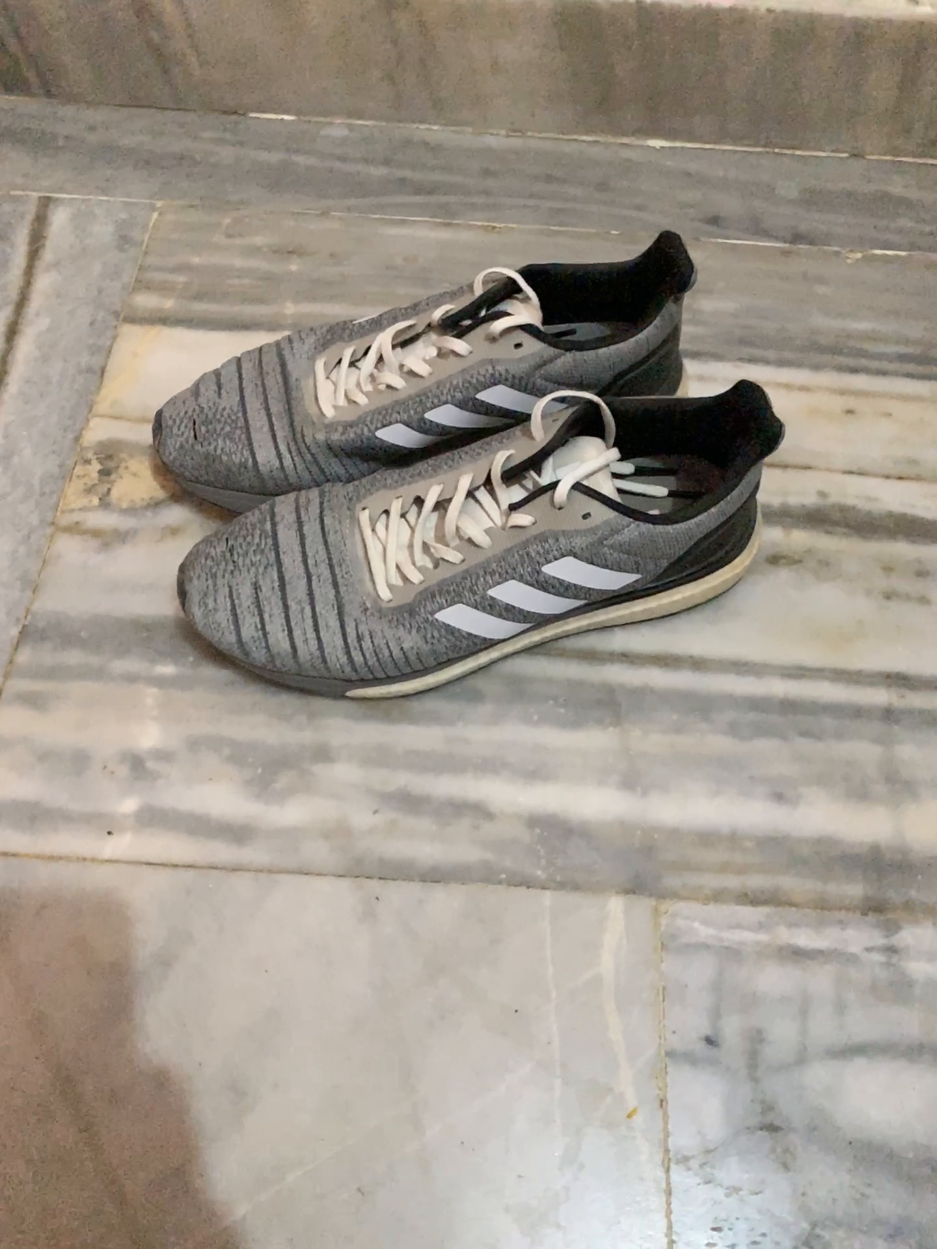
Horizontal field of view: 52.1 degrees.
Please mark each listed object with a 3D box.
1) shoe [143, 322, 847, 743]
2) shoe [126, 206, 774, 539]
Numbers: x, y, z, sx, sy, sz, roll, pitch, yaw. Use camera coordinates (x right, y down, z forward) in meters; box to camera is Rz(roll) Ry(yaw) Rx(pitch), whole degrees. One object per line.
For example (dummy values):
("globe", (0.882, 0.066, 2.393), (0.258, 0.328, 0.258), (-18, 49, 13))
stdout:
("shoe", (0.009, -0.049, 0.477), (0.300, 0.090, 0.120), (-13, 63, -10))
("shoe", (-0.012, -0.138, 0.518), (0.310, 0.080, 0.110), (-10, 62, -8))
